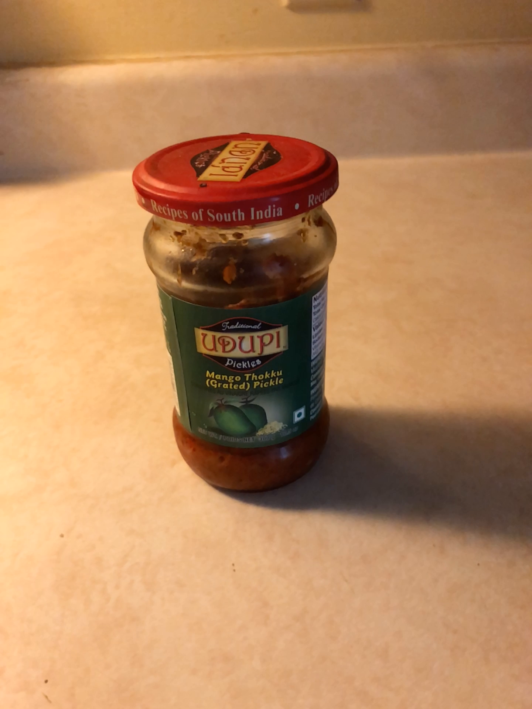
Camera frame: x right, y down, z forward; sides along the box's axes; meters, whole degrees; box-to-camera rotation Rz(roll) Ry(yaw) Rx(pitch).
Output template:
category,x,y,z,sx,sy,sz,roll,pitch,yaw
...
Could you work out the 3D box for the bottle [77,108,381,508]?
category,x,y,z,sx,sy,sz,roll,pitch,yaw
bottle,-0.003,-0.019,0.222,0.080,0.120,0.080,-2,34,1
